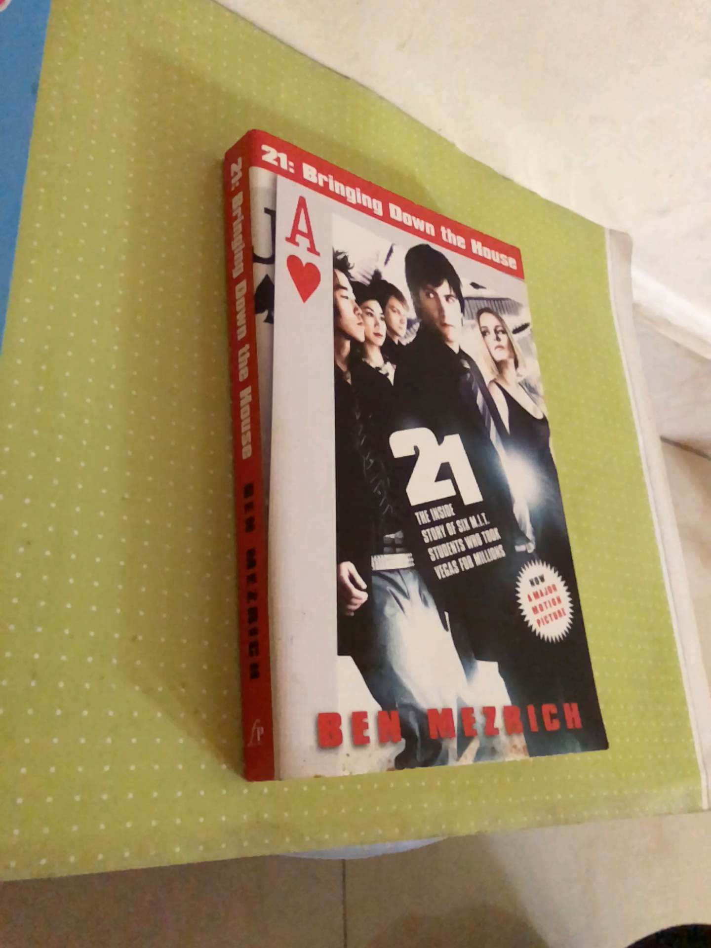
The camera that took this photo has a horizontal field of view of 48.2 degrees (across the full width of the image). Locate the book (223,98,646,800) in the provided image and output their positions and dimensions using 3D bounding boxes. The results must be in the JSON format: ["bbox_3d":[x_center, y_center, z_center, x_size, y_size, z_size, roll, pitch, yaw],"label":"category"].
[{"bbox_3d":[0.024,-0.007,0.274,0.131,0.040,0.210,10,66,-35],"label":"book"}]
